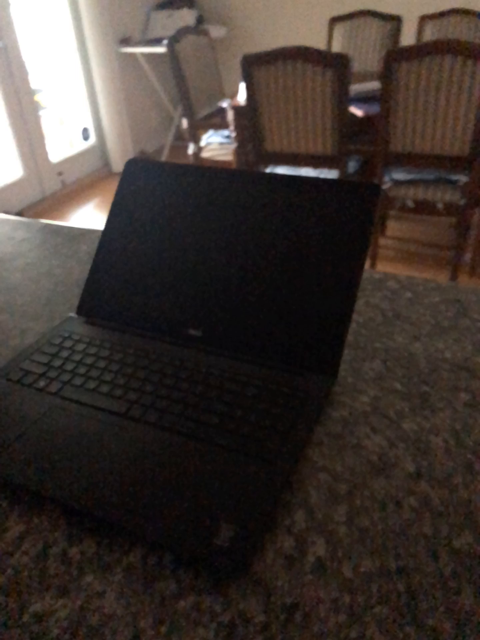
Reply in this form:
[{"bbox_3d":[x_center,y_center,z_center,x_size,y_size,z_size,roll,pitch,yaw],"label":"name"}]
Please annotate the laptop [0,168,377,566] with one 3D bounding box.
[{"bbox_3d":[-0.082,-0.015,0.594,0.361,0.158,0.416,12,36,22],"label":"laptop"}]
